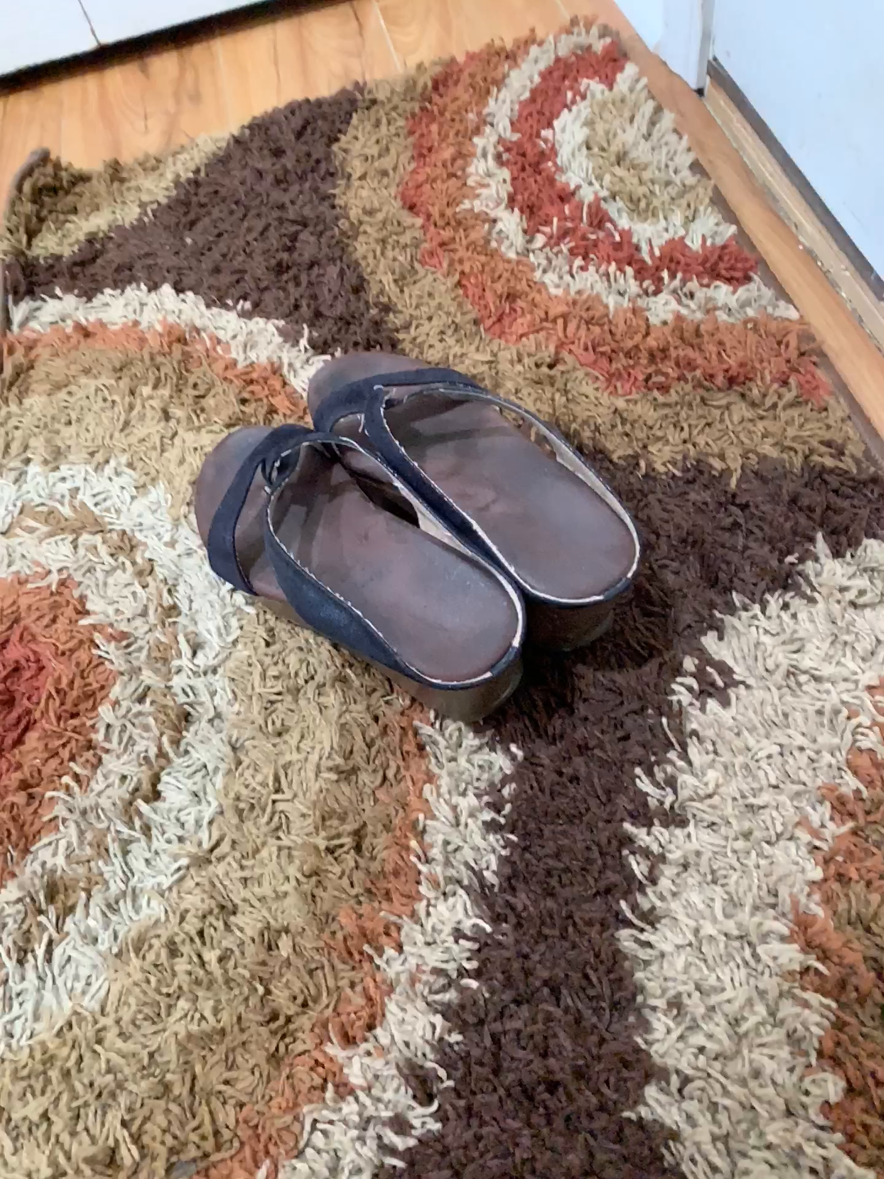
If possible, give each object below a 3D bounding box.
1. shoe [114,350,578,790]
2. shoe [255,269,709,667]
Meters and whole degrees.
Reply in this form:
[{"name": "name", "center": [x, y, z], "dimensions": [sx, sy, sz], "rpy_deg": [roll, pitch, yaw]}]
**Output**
[{"name": "shoe", "center": [-0.050, -0.019, 0.439], "dimensions": [0.090, 0.062, 0.223], "rpy_deg": [-43, 61, -16]}, {"name": "shoe", "center": [0.012, -0.069, 0.451], "dimensions": [0.084, 0.052, 0.224], "rpy_deg": [-41, 61, -15]}]
